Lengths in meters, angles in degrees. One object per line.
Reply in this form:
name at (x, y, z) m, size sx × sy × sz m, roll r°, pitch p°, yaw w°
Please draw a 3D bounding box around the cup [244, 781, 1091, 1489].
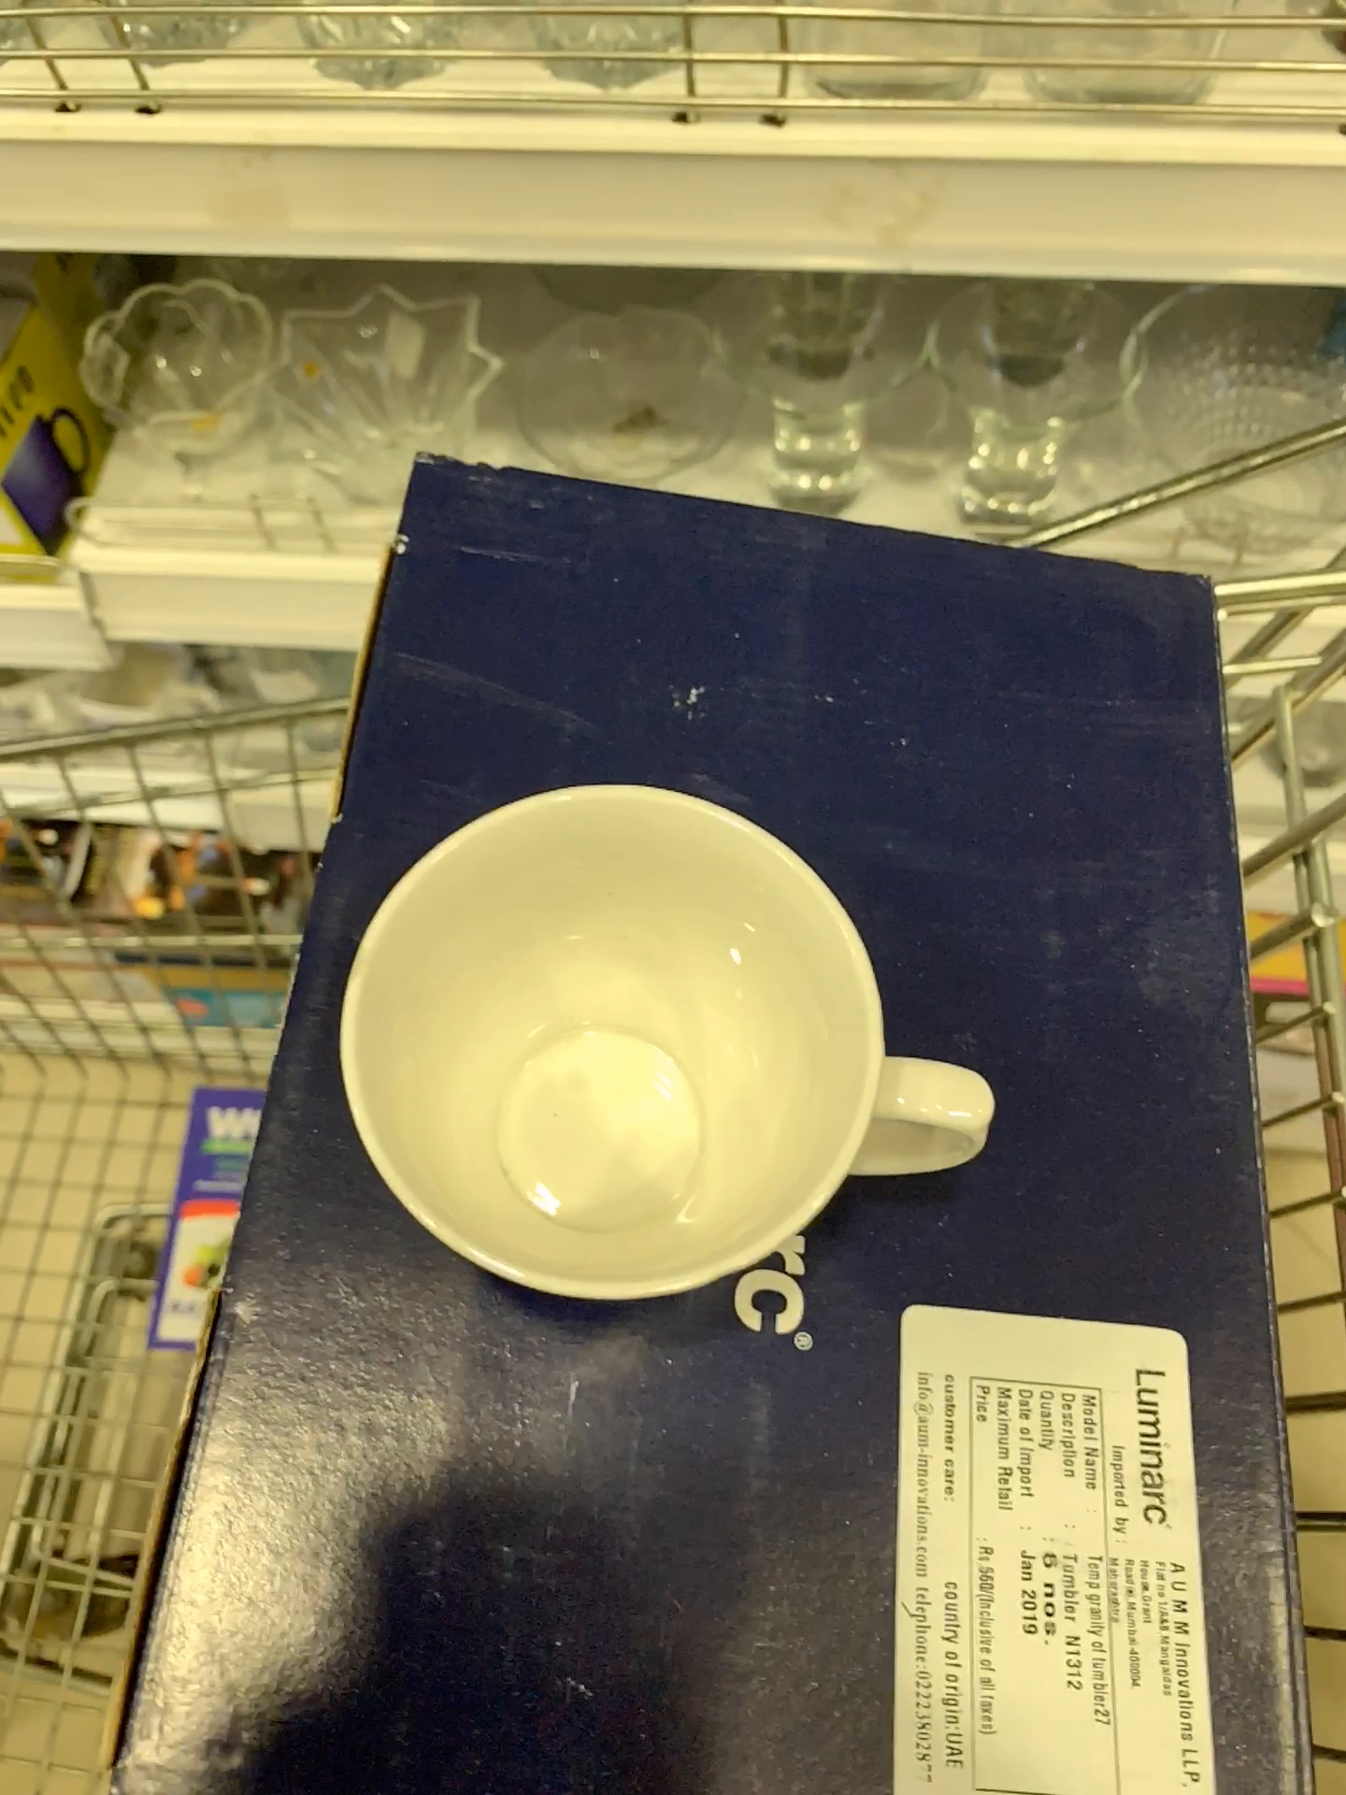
cup at (0.003, 0.031, 0.182) m, size 0.090 × 0.040 × 0.070 m, roll 9°, pitch 65°, yaw 2°
